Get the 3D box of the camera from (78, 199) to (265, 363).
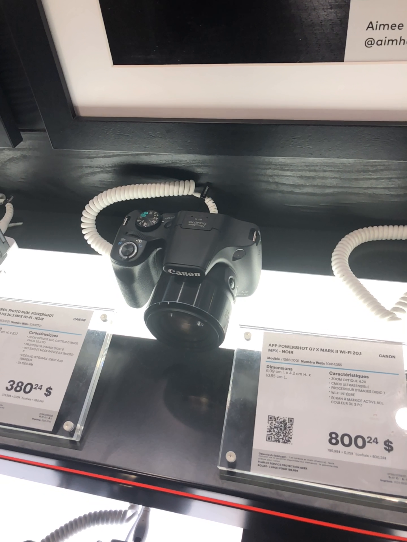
[{"bbox_3d":[-0.017,0.007,0.360,0.122,0.099,0.071,5,44,13],"label":"camera"}]
